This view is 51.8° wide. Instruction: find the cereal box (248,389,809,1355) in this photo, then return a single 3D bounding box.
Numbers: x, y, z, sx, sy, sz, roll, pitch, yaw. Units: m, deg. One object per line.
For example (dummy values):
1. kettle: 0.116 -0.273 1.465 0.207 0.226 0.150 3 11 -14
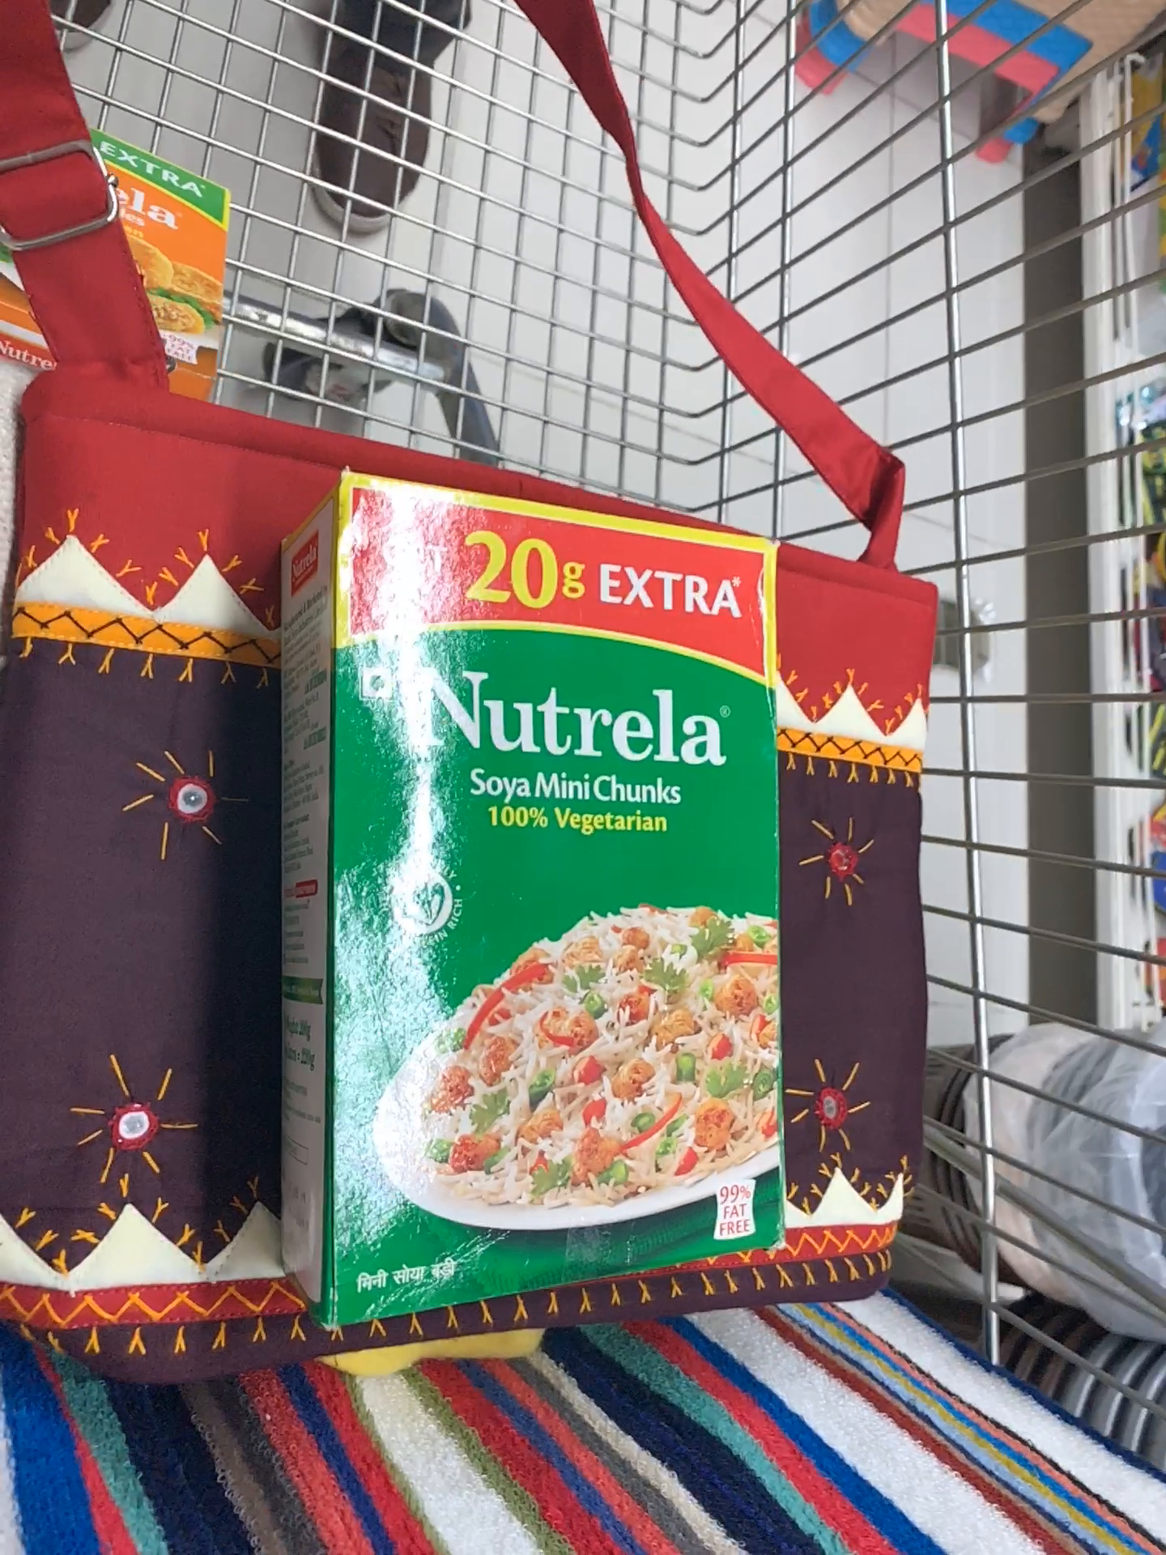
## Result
1. cereal box: -0.013 0.019 0.288 0.120 0.050 0.190 2 83 -29
